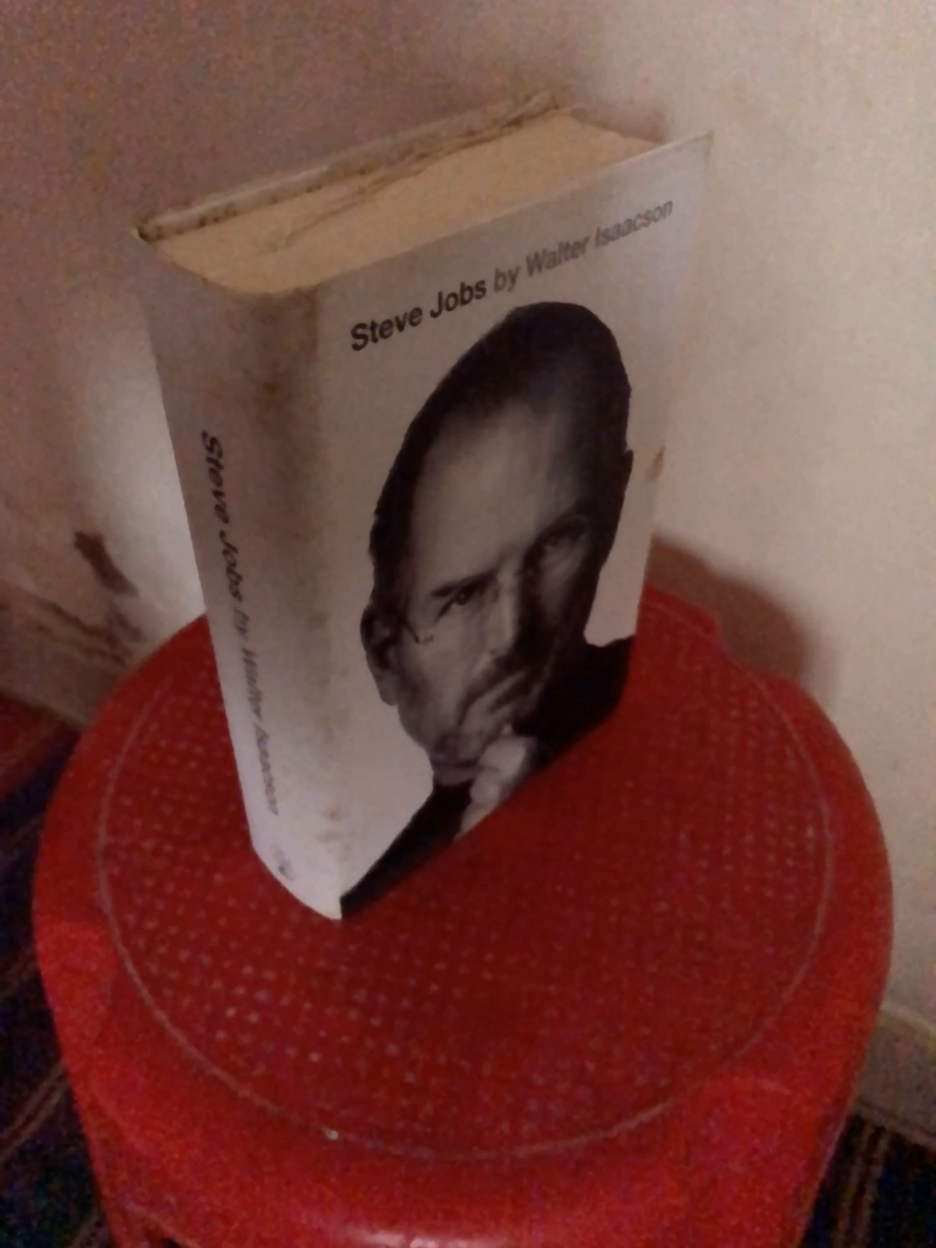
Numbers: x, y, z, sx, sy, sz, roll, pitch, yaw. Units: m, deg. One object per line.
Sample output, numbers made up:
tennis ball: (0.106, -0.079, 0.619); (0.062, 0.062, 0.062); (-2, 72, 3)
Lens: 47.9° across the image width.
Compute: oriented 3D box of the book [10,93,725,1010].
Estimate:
book: (-0.014, -0.016, 0.323); (0.060, 0.229, 0.170); (34, 51, 31)
